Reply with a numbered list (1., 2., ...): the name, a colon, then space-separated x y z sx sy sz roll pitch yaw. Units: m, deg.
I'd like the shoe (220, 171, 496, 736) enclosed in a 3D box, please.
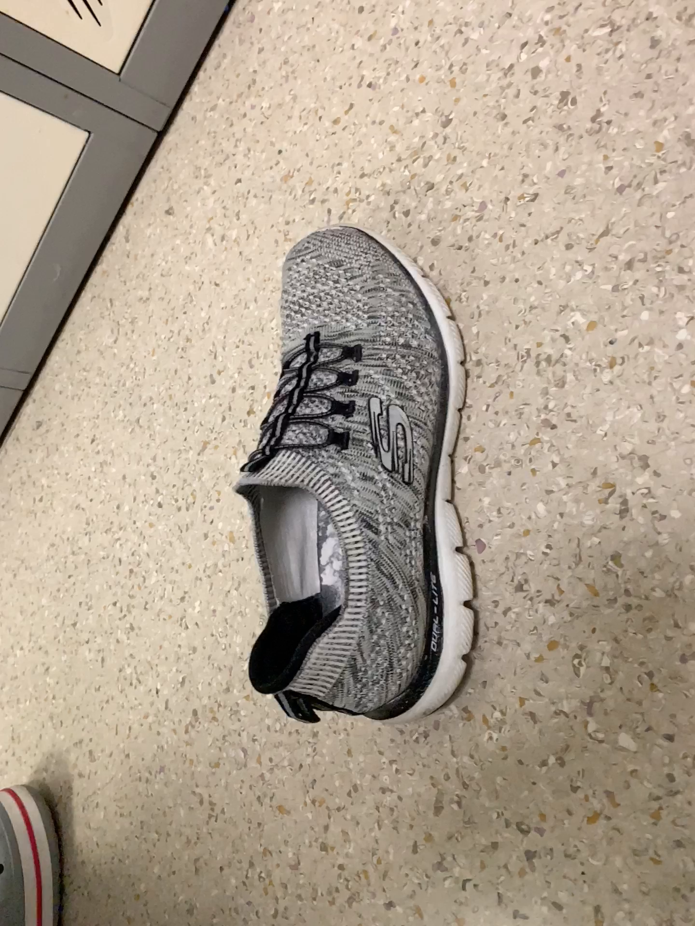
1. shoe: 0.002 -0.001 0.364 0.094 0.093 0.241 -11 77 42
